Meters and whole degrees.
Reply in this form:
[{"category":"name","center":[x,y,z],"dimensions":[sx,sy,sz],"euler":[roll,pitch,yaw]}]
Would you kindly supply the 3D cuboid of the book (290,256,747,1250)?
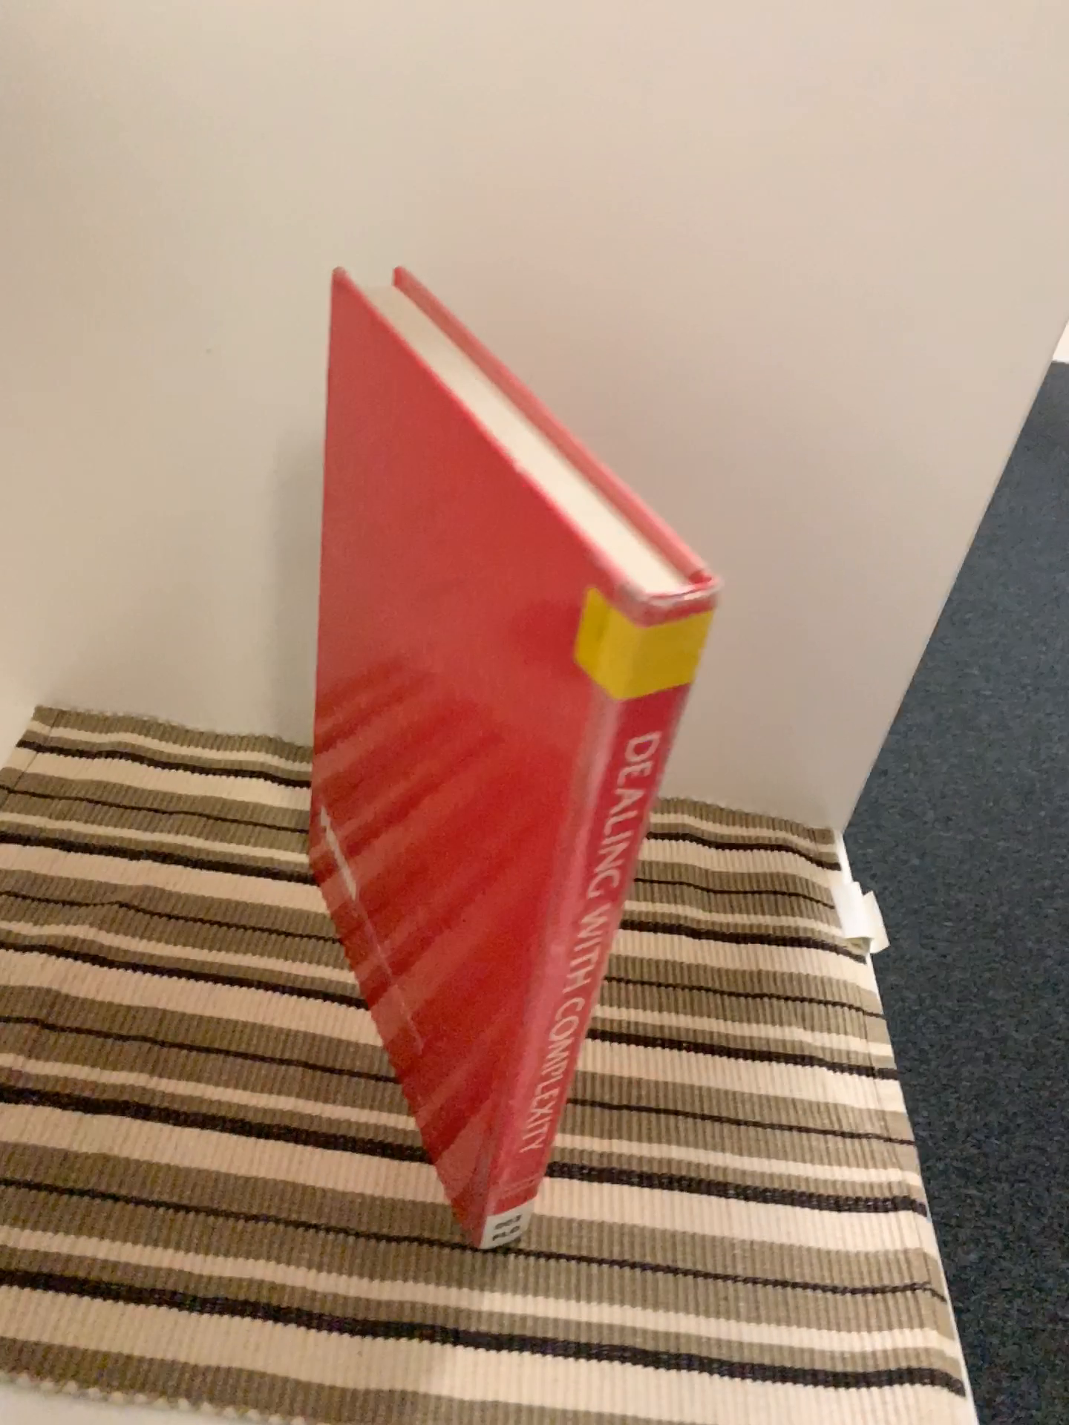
[{"category":"book","center":[-0.033,0.013,0.356],"dimensions":[0.030,0.250,0.202],"euler":[-10,41,-26]}]
